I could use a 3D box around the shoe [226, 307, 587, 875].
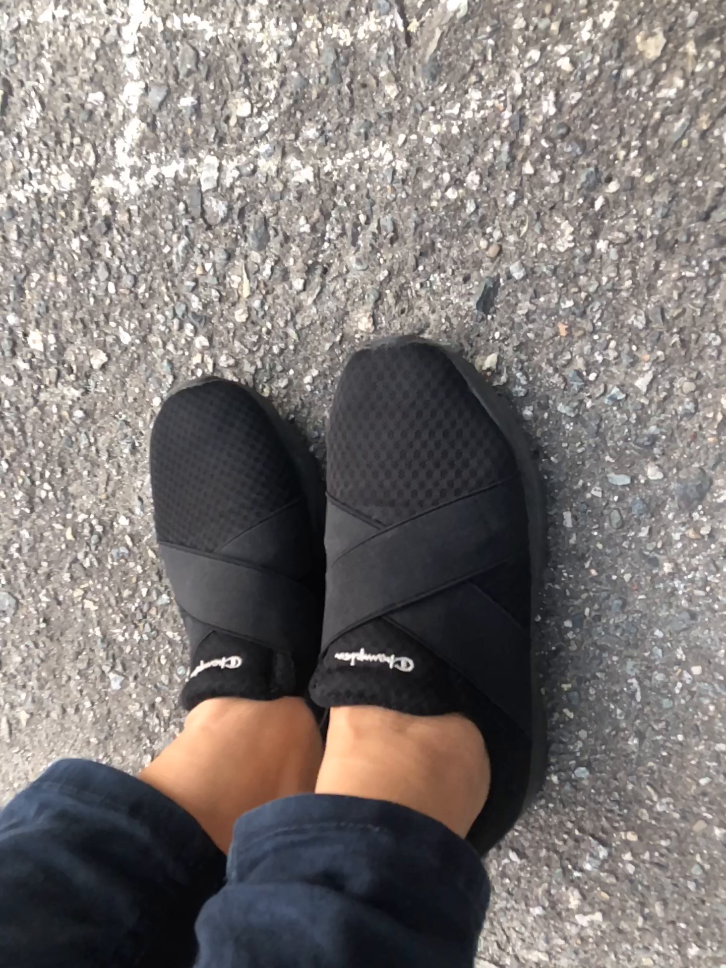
[{"bbox_3d":[0.027,0.044,0.348,0.100,0.080,0.220,-7,100,23],"label":"shoe"}]

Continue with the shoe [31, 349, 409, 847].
[{"bbox_3d":[-0.065,0.057,0.391,0.100,0.070,0.220,-14,97,24],"label":"shoe"}]
